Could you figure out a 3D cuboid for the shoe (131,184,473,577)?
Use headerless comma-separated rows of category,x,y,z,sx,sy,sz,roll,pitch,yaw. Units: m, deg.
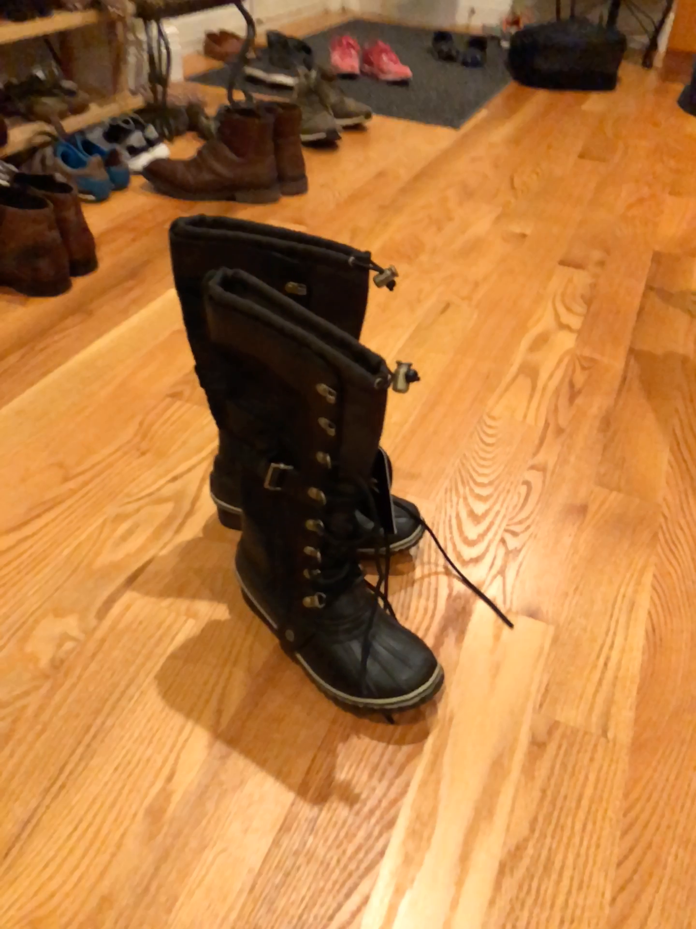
shoe,-0.041,-0.067,0.716,0.260,0.328,0.101,9,38,7

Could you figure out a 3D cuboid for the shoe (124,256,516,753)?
shoe,-0.035,0.033,0.606,0.260,0.308,0.100,28,44,27
